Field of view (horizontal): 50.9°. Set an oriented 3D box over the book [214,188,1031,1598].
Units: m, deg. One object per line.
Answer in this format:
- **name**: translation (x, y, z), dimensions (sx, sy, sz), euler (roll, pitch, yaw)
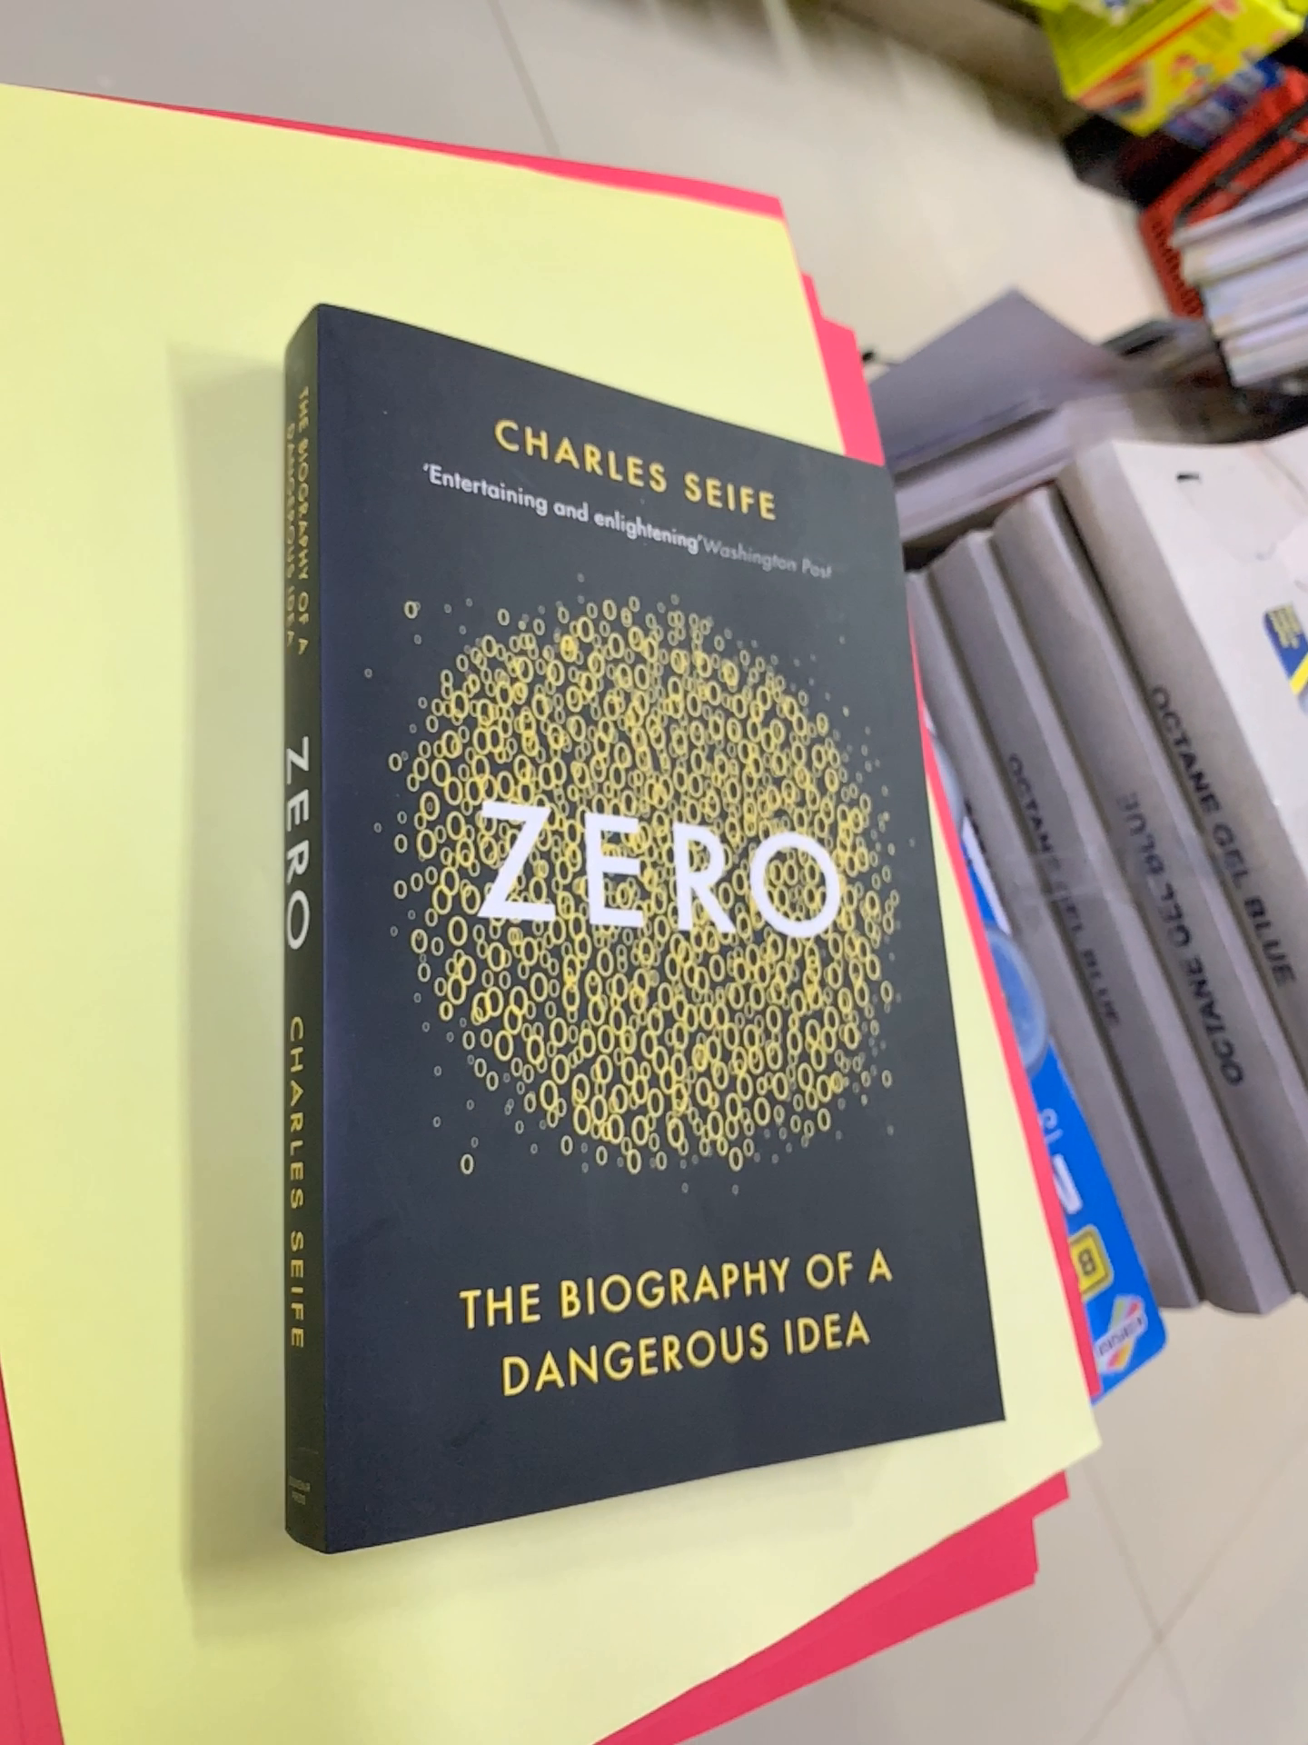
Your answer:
- **book**: translation (-0.004, 0.001, 0.243), dimensions (0.131, 0.040, 0.200), euler (5, 75, -33)
